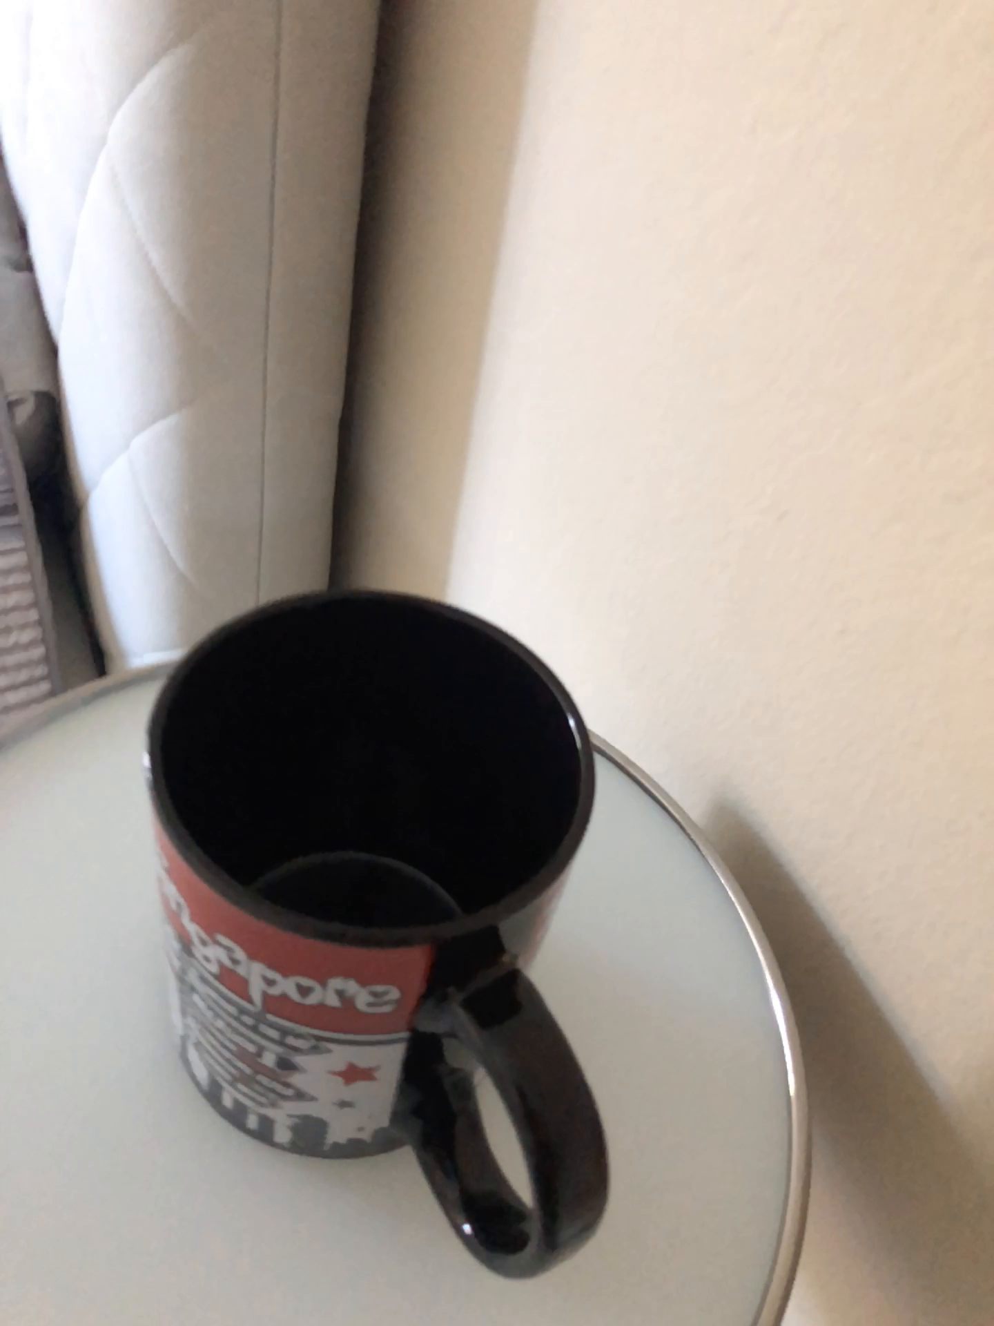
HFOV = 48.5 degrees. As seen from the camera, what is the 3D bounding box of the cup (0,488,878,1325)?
[{"bbox_3d":[-0.023,0.054,0.214,0.090,0.100,0.130,-21,54,-30],"label":"cup"}]
